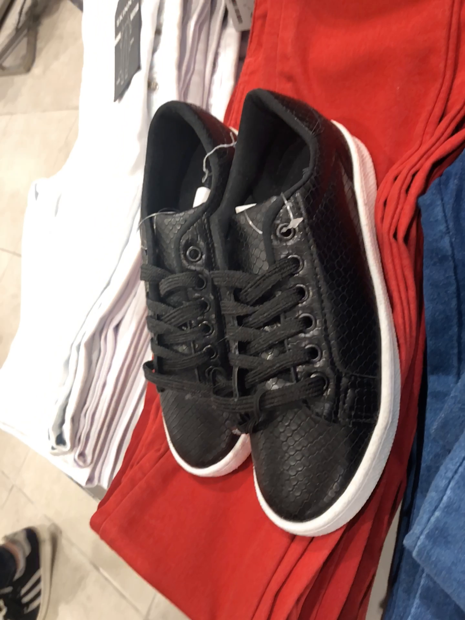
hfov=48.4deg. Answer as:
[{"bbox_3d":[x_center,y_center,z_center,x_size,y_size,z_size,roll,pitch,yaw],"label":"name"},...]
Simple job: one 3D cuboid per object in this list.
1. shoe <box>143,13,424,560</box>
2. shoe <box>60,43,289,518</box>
[{"bbox_3d":[0.038,-0.010,0.280,0.090,0.100,0.250,-10,65,36],"label":"shoe"},{"bbox_3d":[-0.031,-0.015,0.335,0.090,0.100,0.250,-2,82,34],"label":"shoe"}]
